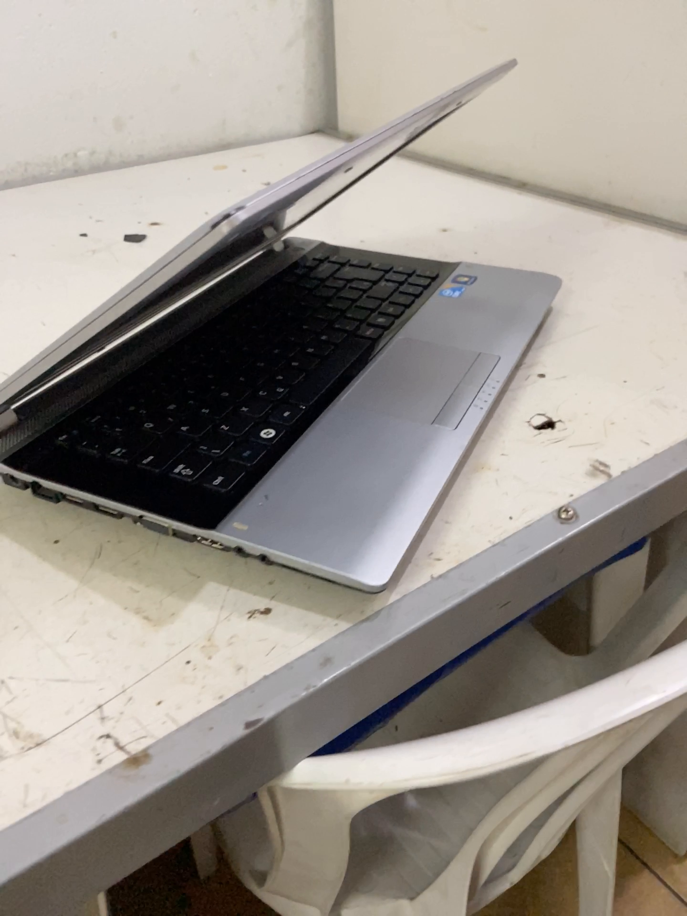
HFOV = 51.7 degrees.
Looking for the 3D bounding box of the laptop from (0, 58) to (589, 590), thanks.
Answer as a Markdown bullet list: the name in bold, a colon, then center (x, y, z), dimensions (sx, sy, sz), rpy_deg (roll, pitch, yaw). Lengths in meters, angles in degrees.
- **laptop**: center (-0.021, -0.123, 0.395), dimensions (0.232, 0.133, 0.338), rpy_deg (14, 38, 21)
